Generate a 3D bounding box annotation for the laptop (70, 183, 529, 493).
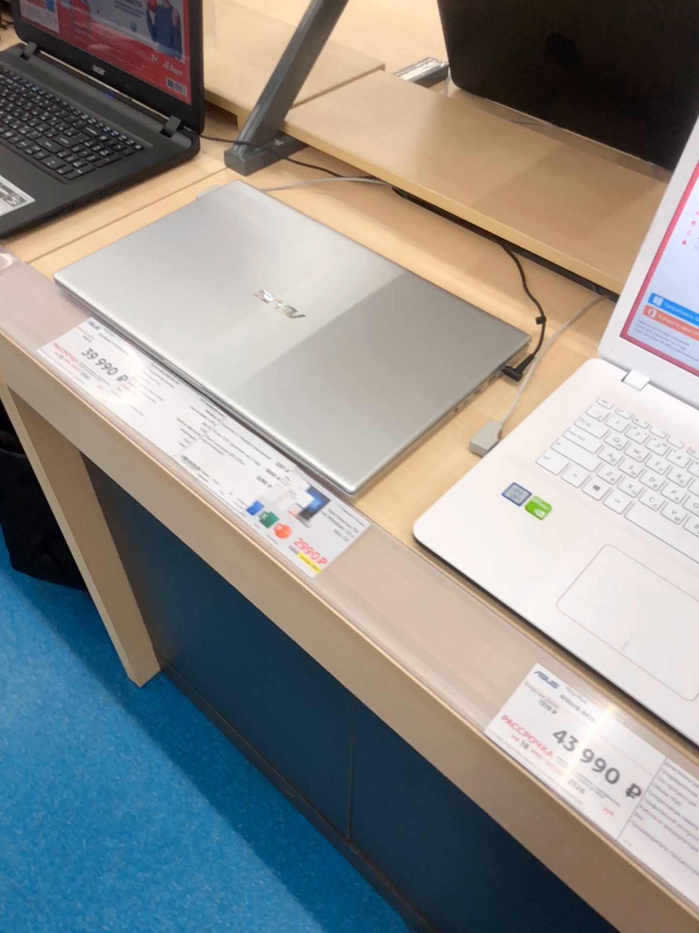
[{"bbox_3d":[-0.057,-0.151,0.737,0.392,0.006,0.233,36,59,25],"label":"laptop"}]
